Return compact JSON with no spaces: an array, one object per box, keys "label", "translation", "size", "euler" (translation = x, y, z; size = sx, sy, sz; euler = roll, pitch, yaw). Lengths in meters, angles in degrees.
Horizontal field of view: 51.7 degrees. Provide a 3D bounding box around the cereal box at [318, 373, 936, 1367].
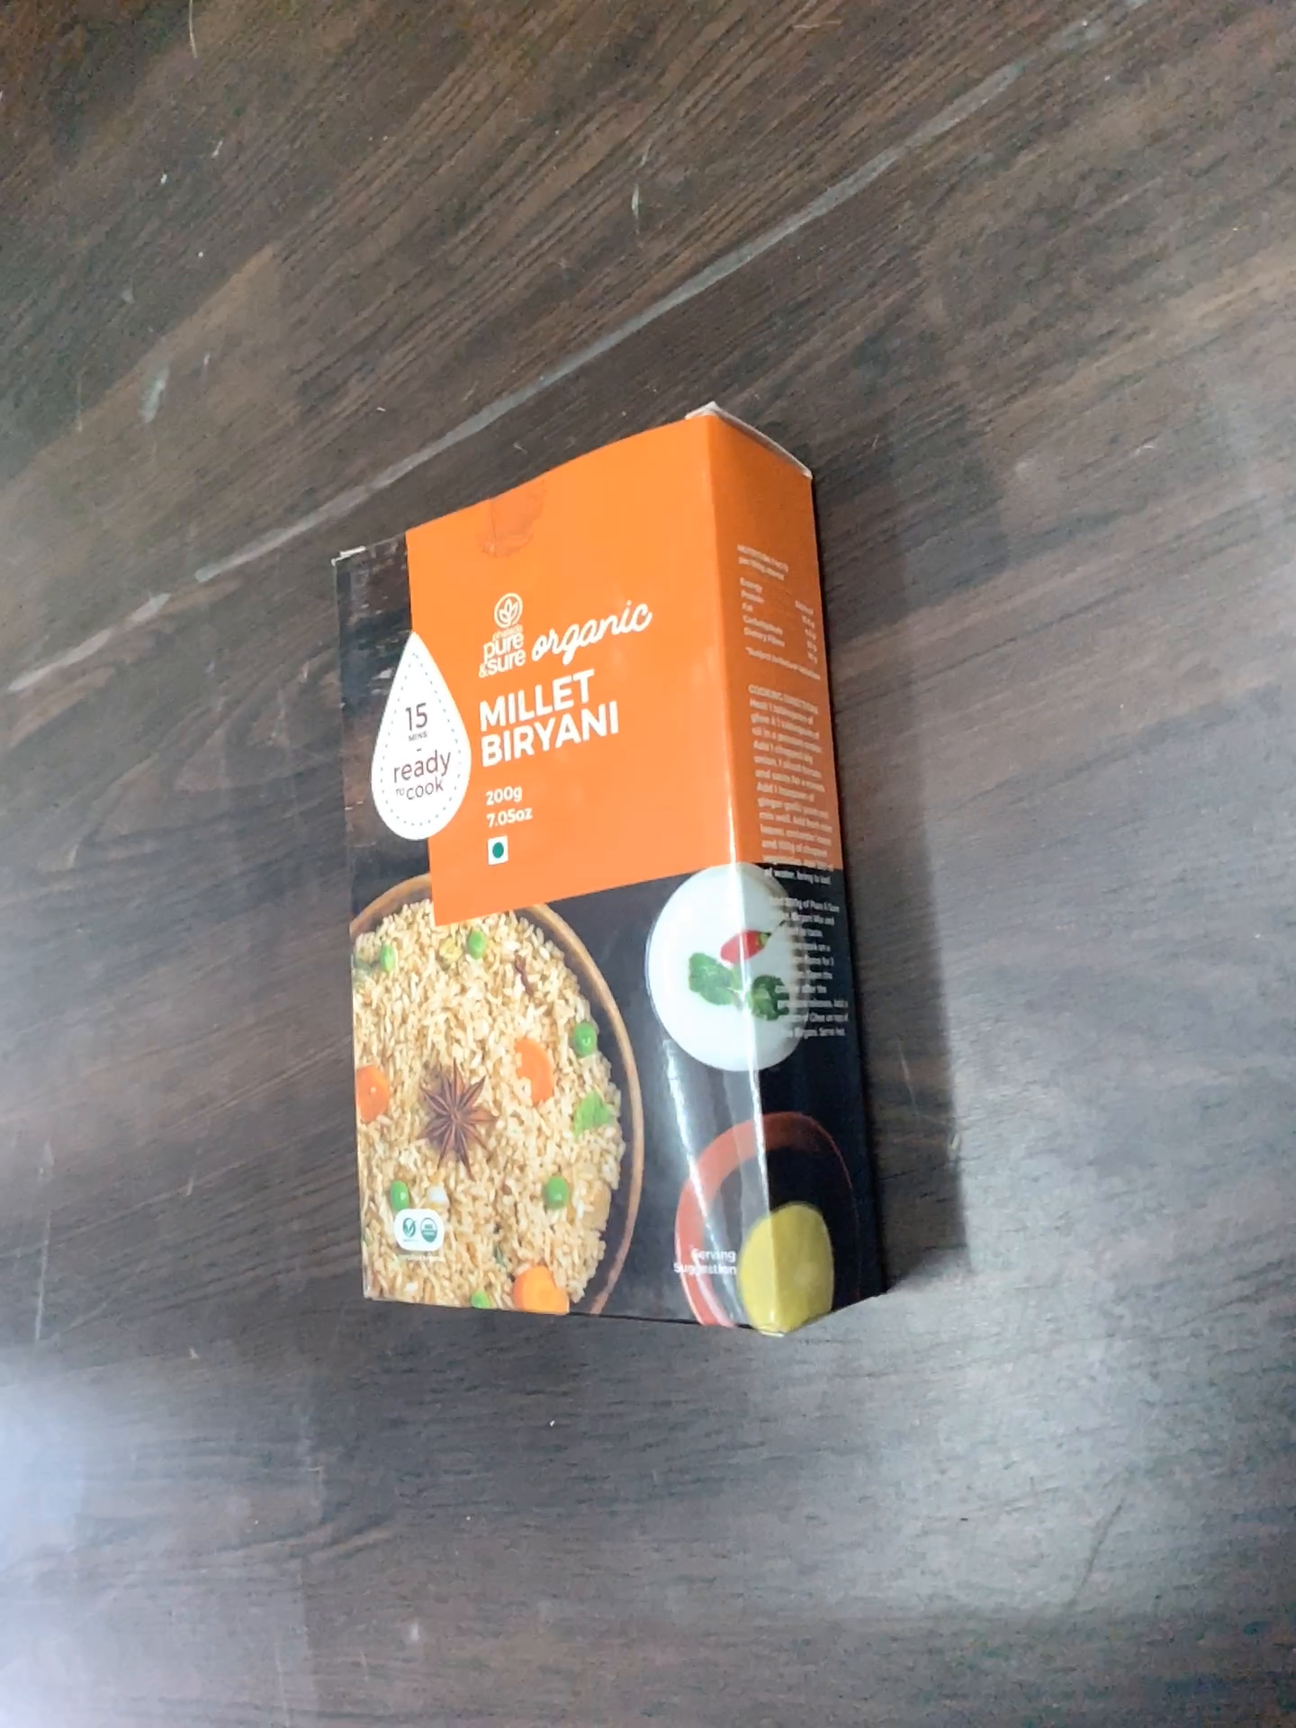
[{"label":"cereal box","translation":[-0.009,0.006,0.278],"size":[0.111,0.050,0.170],"euler":[-8,81,34]}]
